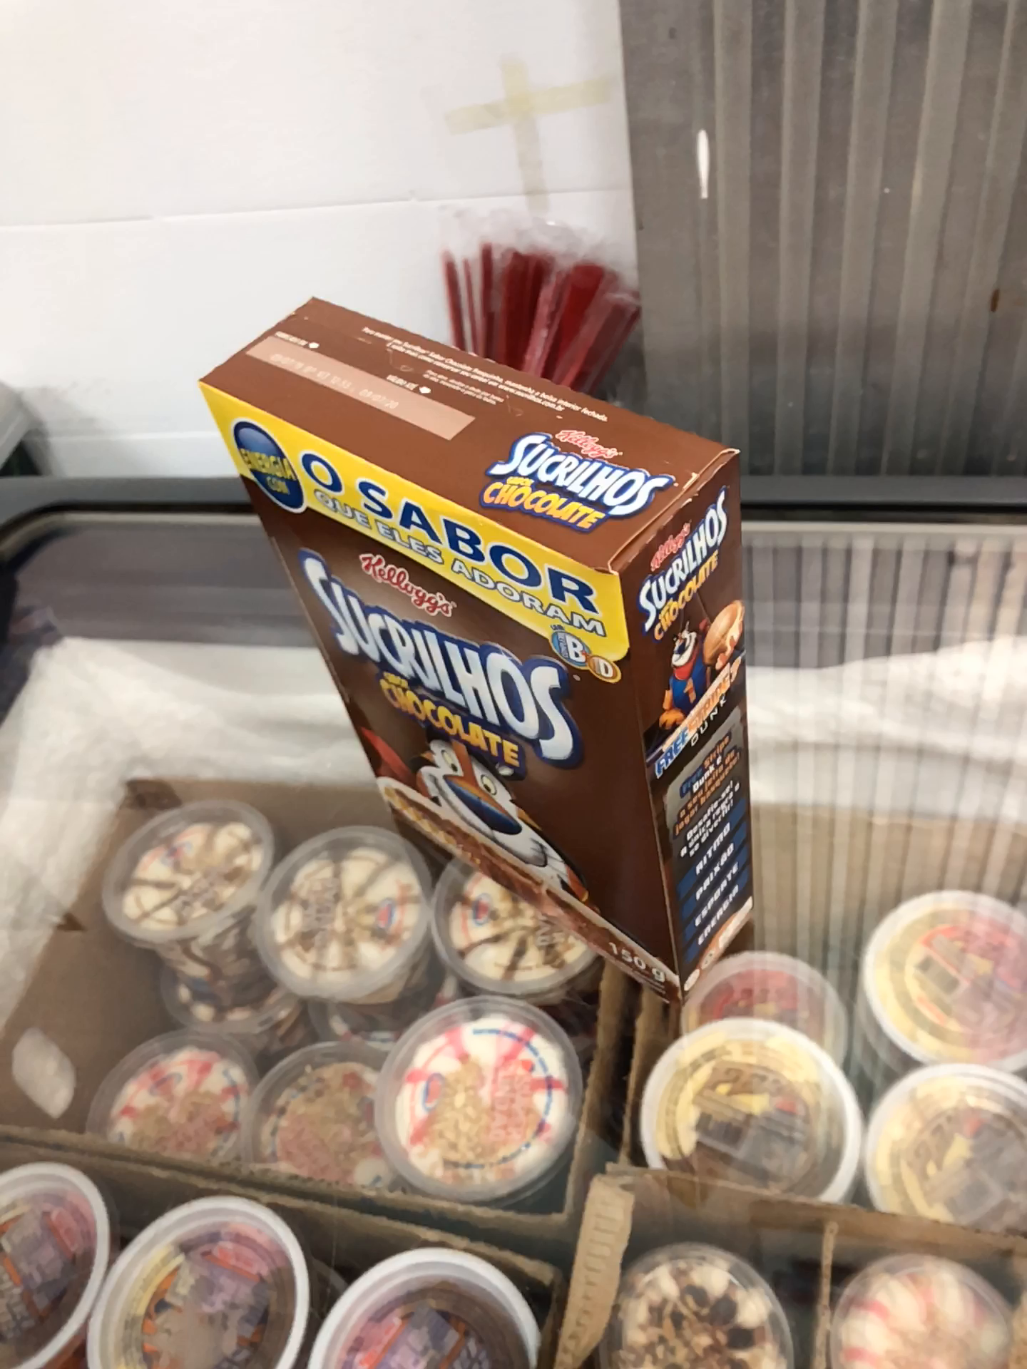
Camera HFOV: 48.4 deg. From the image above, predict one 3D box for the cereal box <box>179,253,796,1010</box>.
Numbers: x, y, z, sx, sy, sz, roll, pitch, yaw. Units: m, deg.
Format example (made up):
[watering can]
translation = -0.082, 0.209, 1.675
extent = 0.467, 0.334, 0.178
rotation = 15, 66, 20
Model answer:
[cereal box]
translation = 0.003, -0.006, 0.347
extent = 0.150, 0.209, 0.050
rotation = 28, 61, 30
